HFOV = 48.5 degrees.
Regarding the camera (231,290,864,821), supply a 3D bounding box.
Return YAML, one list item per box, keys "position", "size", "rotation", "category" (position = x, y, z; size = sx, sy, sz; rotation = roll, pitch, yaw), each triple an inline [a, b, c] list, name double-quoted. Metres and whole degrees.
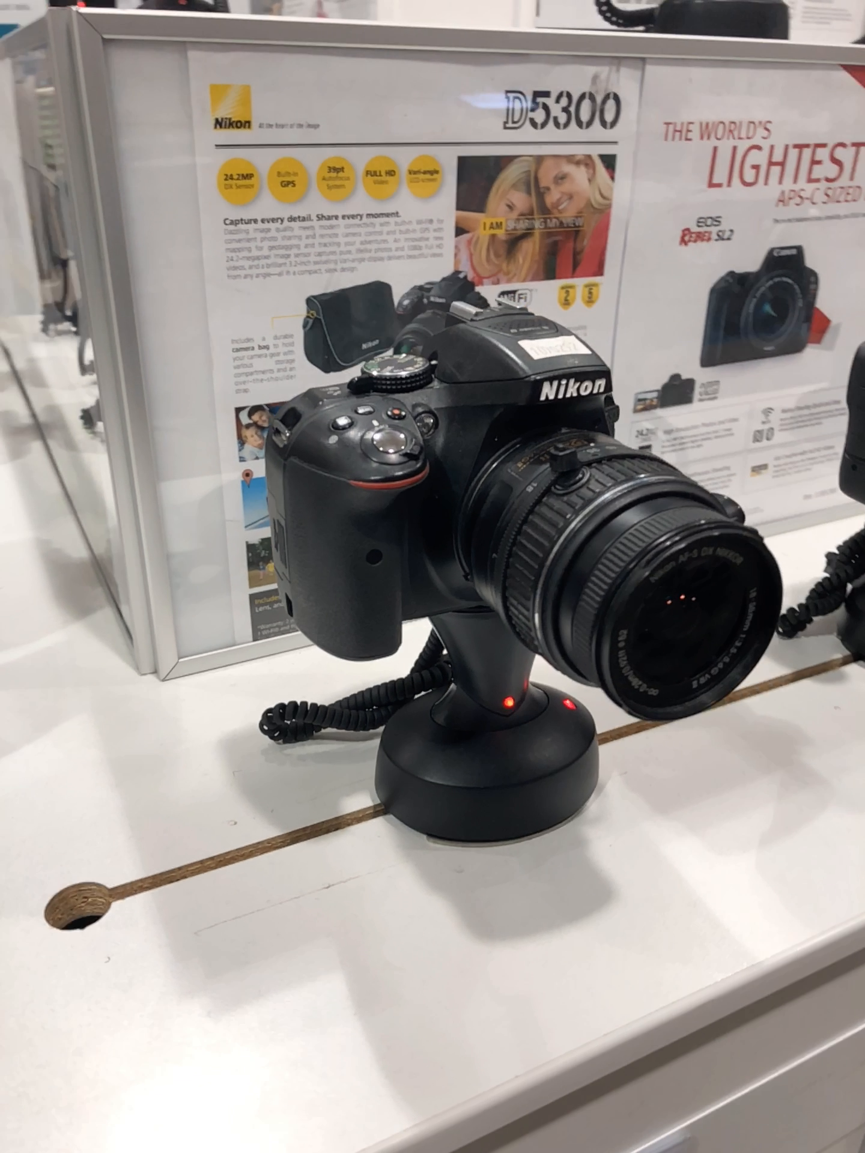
- position: [0.028, -0.024, 0.288]
  size: [0.130, 0.090, 0.140]
  rotation: [-13, 29, -26]
  category: "camera"
